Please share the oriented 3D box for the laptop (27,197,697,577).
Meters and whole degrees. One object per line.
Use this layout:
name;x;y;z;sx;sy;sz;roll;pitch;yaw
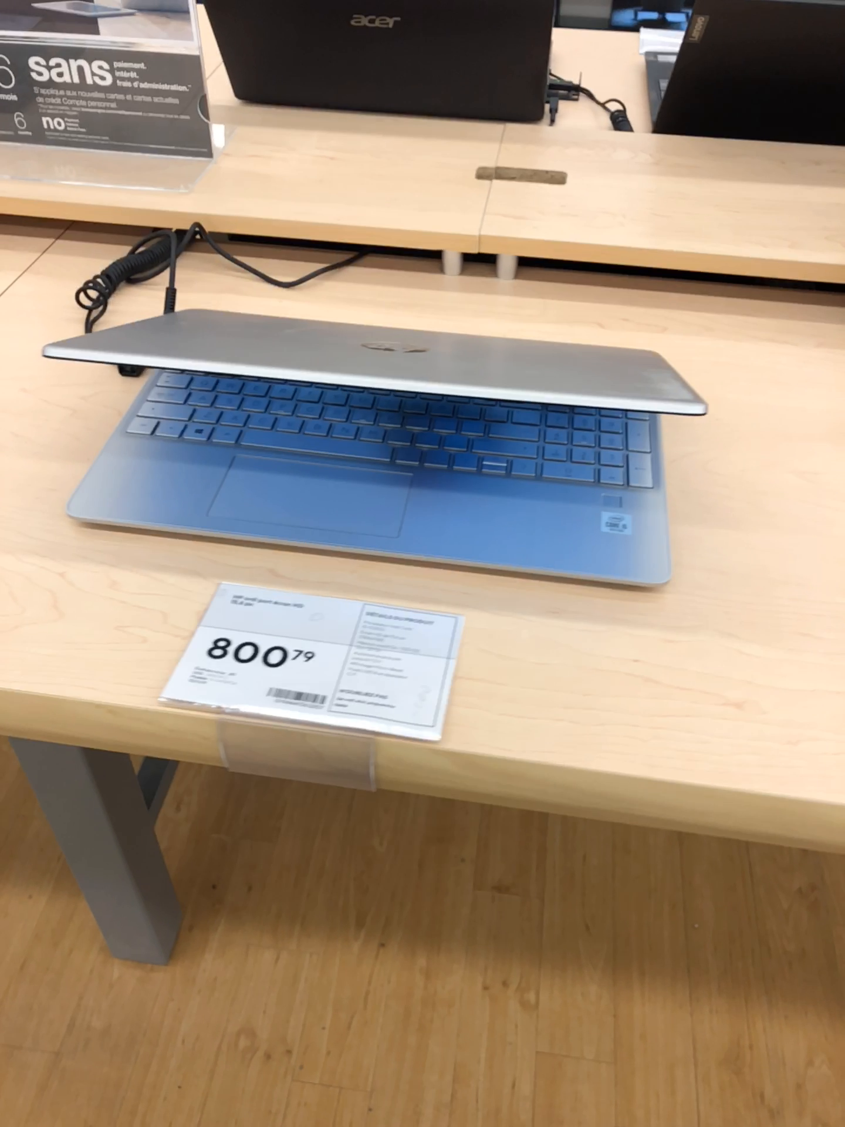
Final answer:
laptop;-0.019;-0.121;0.574;0.340;0.086;0.225;7;46;5
